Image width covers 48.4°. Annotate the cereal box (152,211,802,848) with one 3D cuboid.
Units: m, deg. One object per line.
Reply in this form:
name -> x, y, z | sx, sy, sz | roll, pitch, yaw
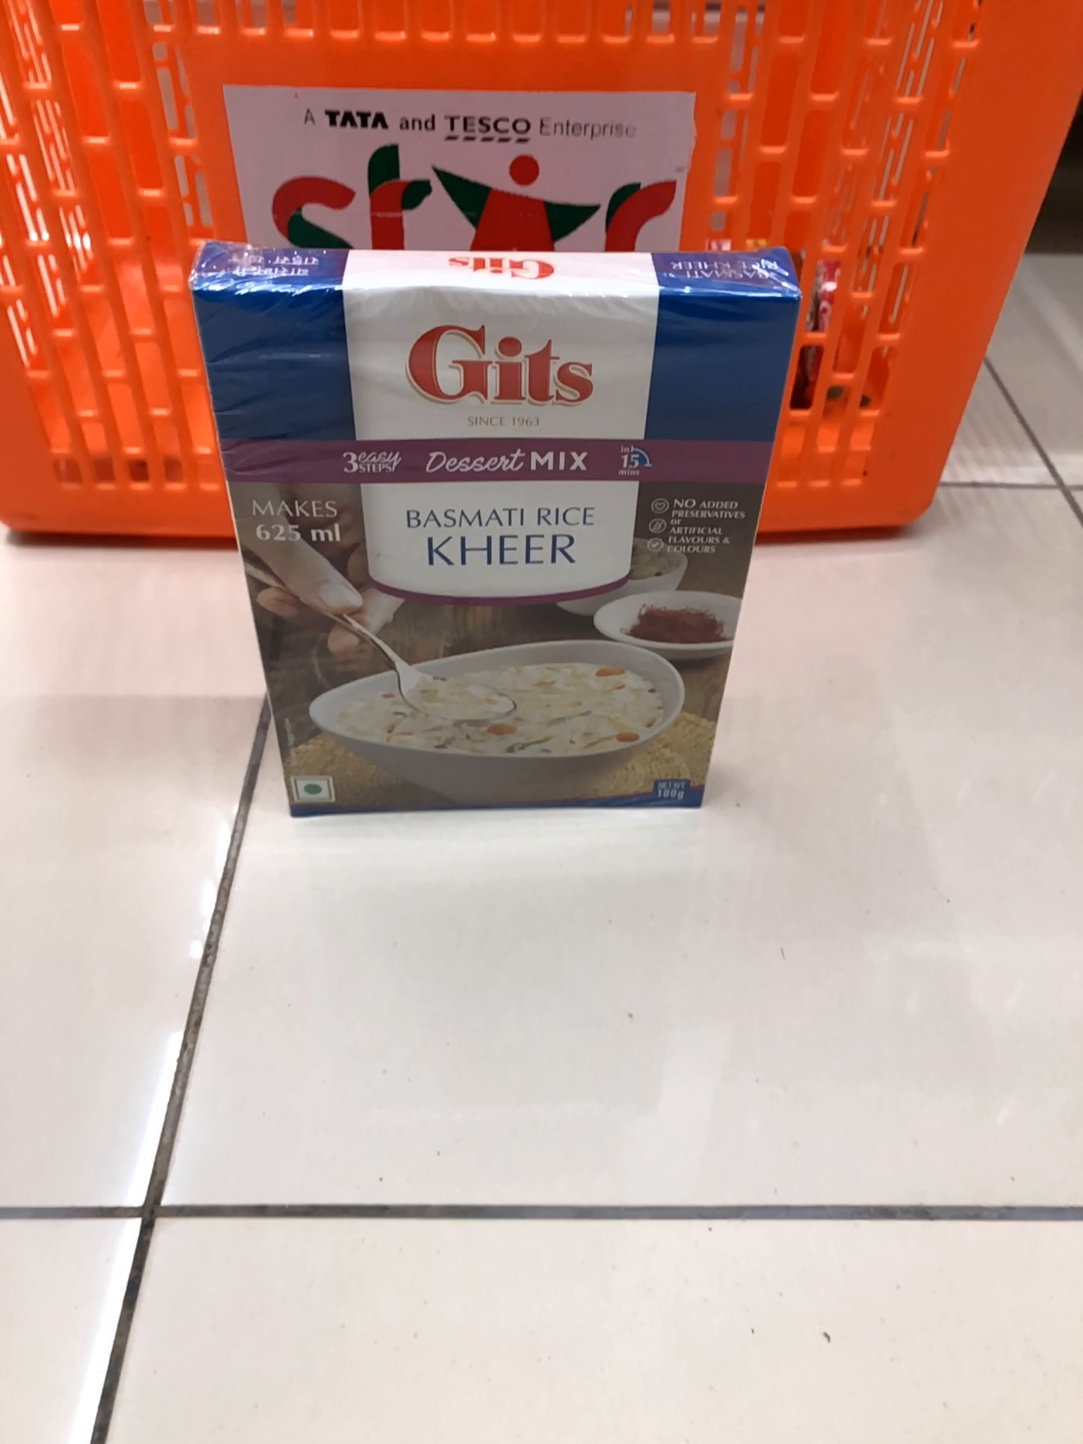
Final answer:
cereal box -> -0.014, -0.035, 0.288 | 0.120, 0.159, 0.030 | -1, 43, -3
